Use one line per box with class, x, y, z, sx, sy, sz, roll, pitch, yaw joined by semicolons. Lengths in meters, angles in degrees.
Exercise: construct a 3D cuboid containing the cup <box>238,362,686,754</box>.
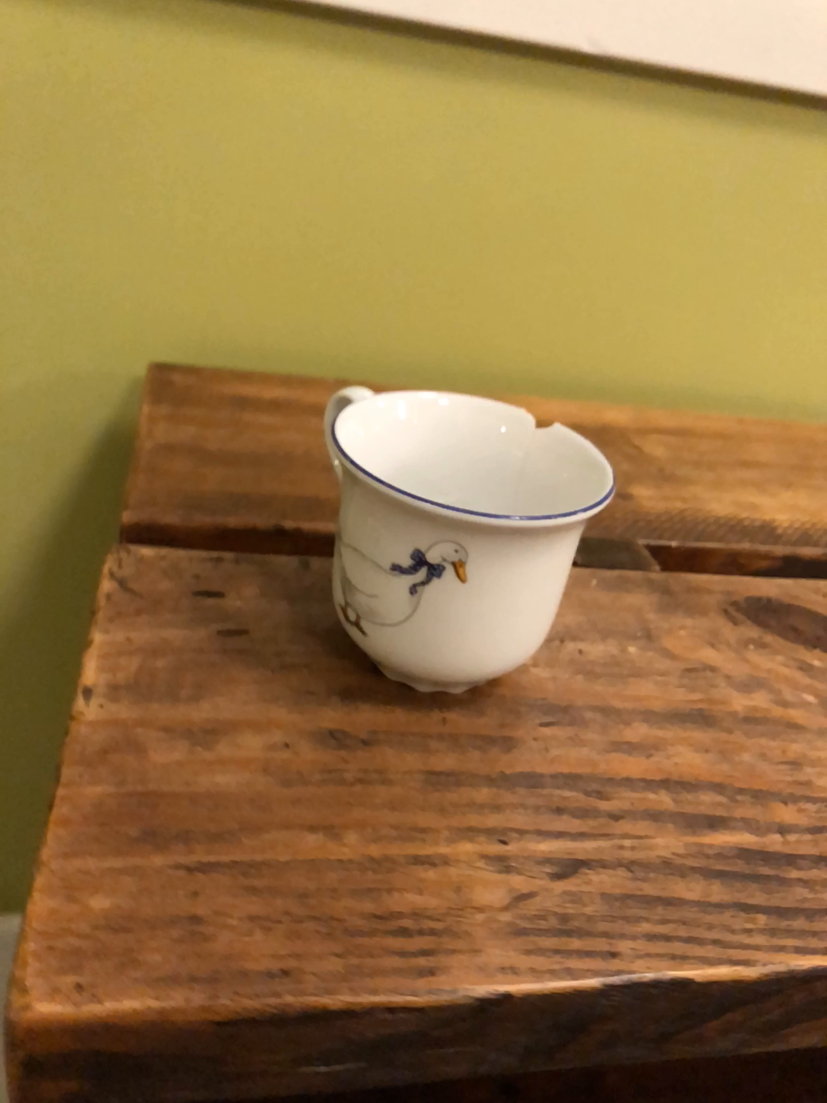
cup;0.008;-0.007;0.295;0.090;0.066;0.108;-10;35;-30
